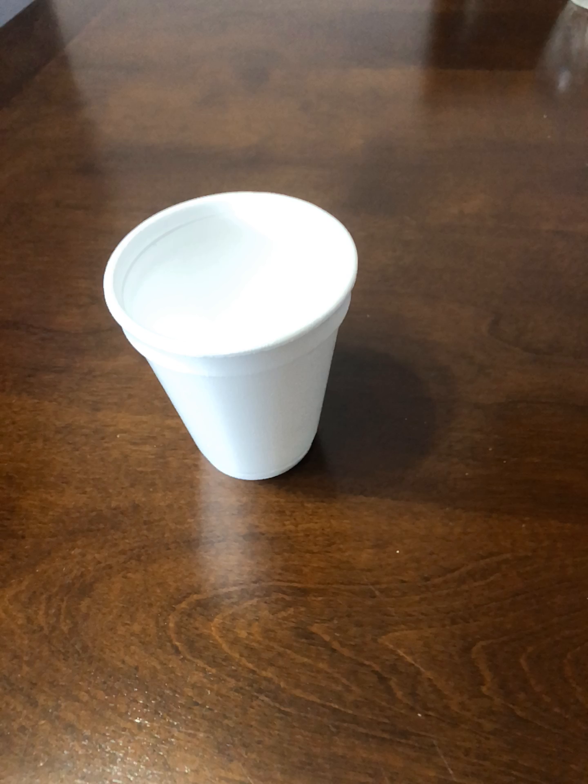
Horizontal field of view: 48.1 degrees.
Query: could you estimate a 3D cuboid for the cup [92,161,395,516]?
[{"bbox_3d":[-0.016,-0.018,0.229,0.080,0.080,0.080,-2,48,2],"label":"cup"}]
